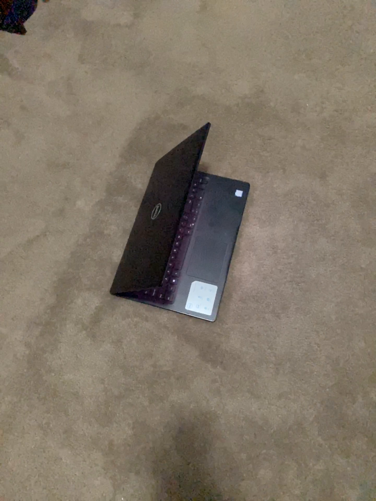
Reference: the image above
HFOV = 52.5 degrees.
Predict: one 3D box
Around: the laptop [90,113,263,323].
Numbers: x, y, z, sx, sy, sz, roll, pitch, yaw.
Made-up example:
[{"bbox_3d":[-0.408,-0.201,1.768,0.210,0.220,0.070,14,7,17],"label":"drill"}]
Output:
[{"bbox_3d":[-0.007,-0.069,0.864,0.251,0.202,0.377,15,70,6],"label":"laptop"}]
